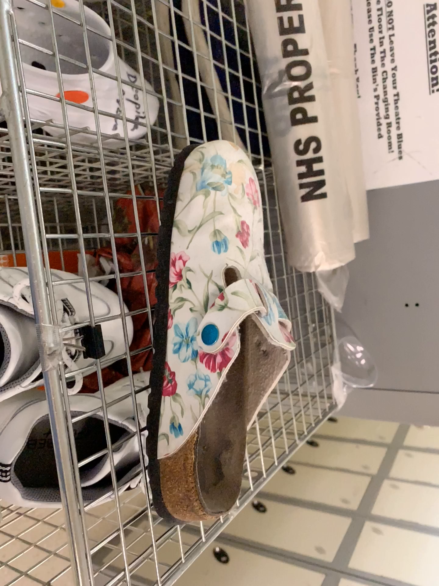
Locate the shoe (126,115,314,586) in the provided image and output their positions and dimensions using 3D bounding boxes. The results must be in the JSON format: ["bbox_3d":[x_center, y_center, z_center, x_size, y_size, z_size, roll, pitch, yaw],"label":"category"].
[{"bbox_3d":[0.009,0.031,0.311,0.101,0.069,0.259,18,73,-55],"label":"shoe"}]
